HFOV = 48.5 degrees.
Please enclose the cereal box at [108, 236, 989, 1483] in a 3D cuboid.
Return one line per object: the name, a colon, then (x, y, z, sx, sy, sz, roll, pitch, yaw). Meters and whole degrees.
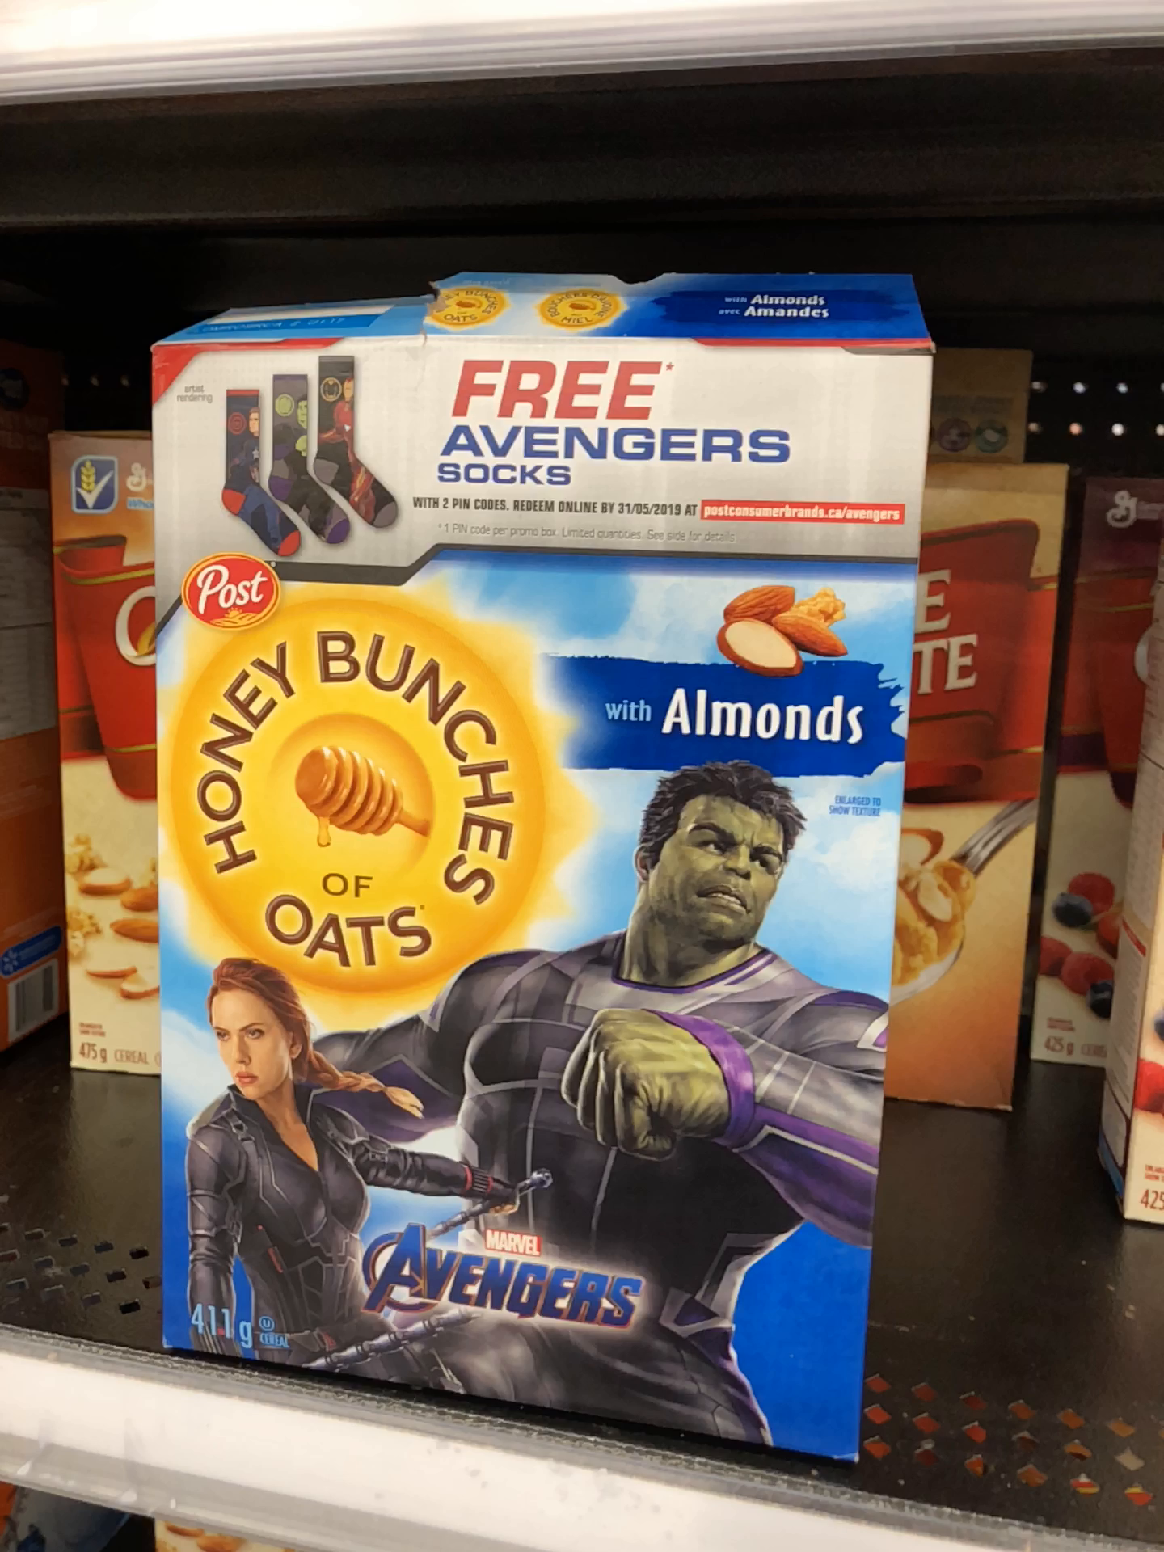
cereal box: (-0.011, 0.018, 0.345, 0.200, 0.289, 0.070, 4, 11, 12)
